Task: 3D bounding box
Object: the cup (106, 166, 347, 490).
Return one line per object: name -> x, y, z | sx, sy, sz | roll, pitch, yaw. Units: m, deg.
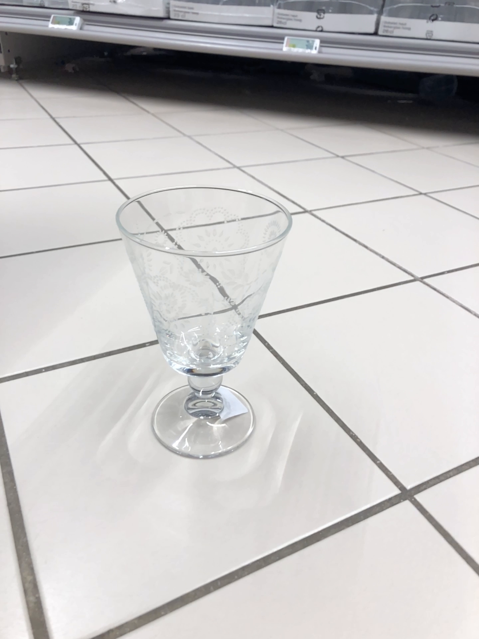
cup -> -0.016, 0.000, 0.288 | 0.095, 0.138, 0.095 | 2, 31, -2
